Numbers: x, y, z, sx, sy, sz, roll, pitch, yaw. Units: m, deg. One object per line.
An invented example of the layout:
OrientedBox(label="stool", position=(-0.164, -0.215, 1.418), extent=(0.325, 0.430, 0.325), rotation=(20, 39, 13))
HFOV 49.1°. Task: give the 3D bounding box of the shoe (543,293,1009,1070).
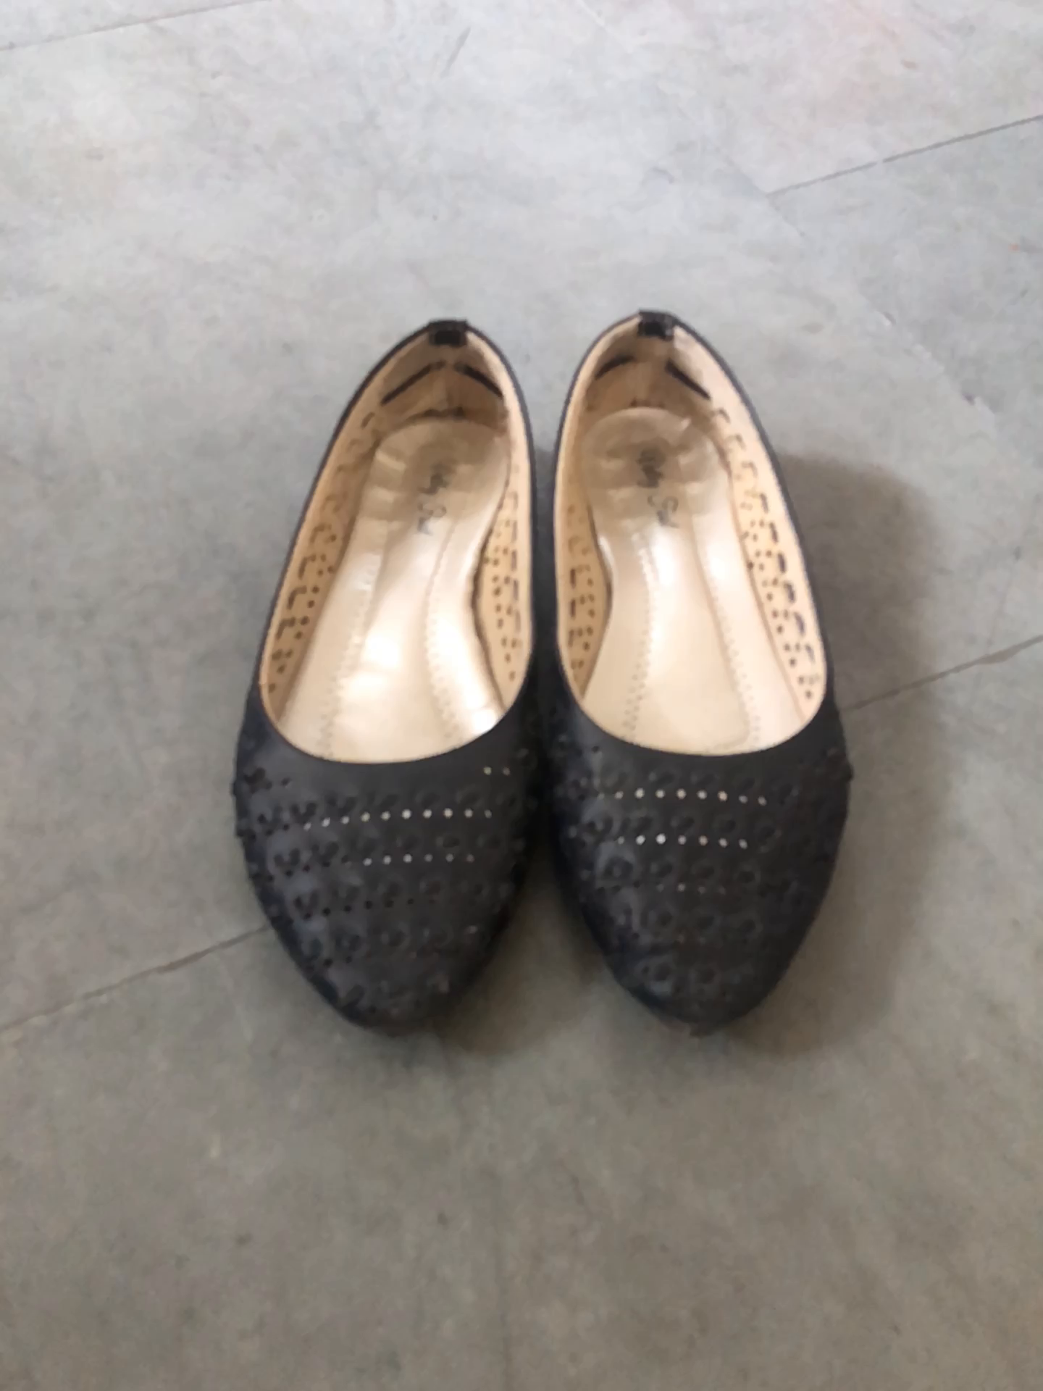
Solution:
OrientedBox(label="shoe", position=(0.059, -0.018, 0.354), extent=(0.095, 0.073, 0.242), rotation=(-1, 54, 0))

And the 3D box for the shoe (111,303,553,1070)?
OrientedBox(label="shoe", position=(-0.040, -0.018, 0.349), extent=(0.095, 0.062, 0.242), rotation=(1, 54, 2))
